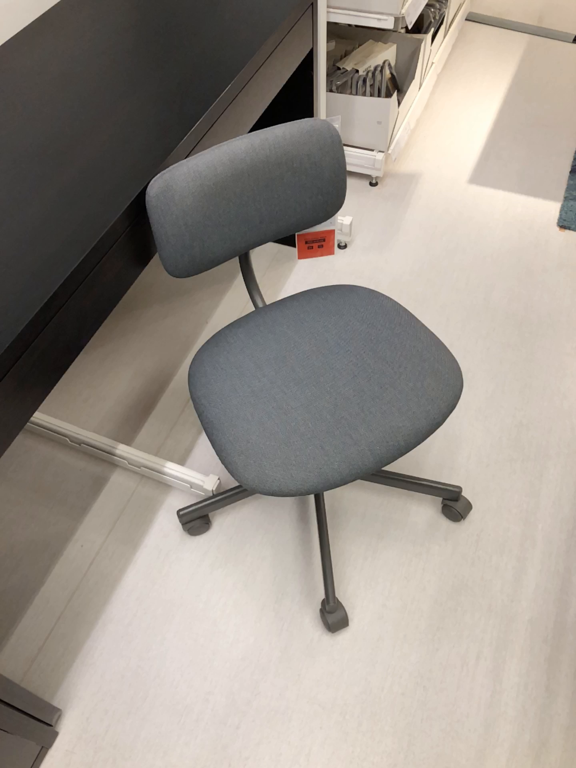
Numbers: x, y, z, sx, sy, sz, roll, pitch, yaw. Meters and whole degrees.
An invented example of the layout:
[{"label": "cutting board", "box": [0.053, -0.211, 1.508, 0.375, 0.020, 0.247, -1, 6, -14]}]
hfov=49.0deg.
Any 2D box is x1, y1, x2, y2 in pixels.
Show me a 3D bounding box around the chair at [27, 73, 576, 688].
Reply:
[{"label": "chair", "box": [0.054, 0.002, 1.100, 0.621, 0.676, 0.593, -26, 55, -16]}]
